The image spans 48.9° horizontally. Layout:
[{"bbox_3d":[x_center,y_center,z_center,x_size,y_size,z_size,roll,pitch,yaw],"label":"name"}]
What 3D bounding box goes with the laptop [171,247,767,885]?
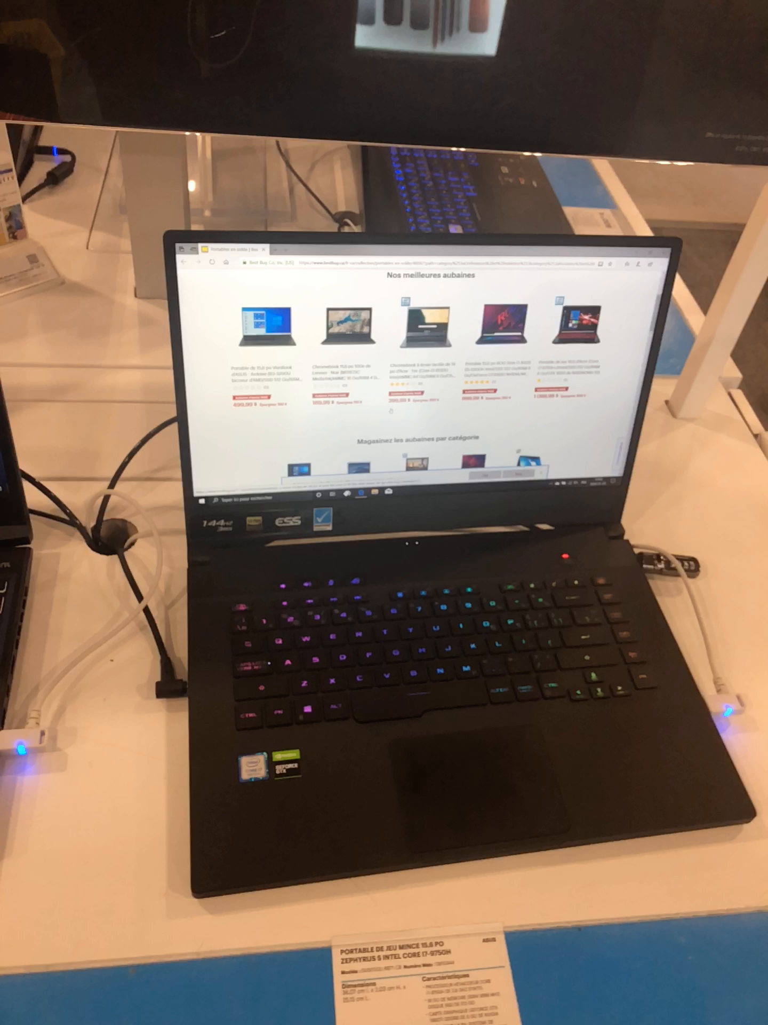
[{"bbox_3d":[0.053,0.011,0.526,0.340,0.207,0.316,-2,47,-9],"label":"laptop"}]
